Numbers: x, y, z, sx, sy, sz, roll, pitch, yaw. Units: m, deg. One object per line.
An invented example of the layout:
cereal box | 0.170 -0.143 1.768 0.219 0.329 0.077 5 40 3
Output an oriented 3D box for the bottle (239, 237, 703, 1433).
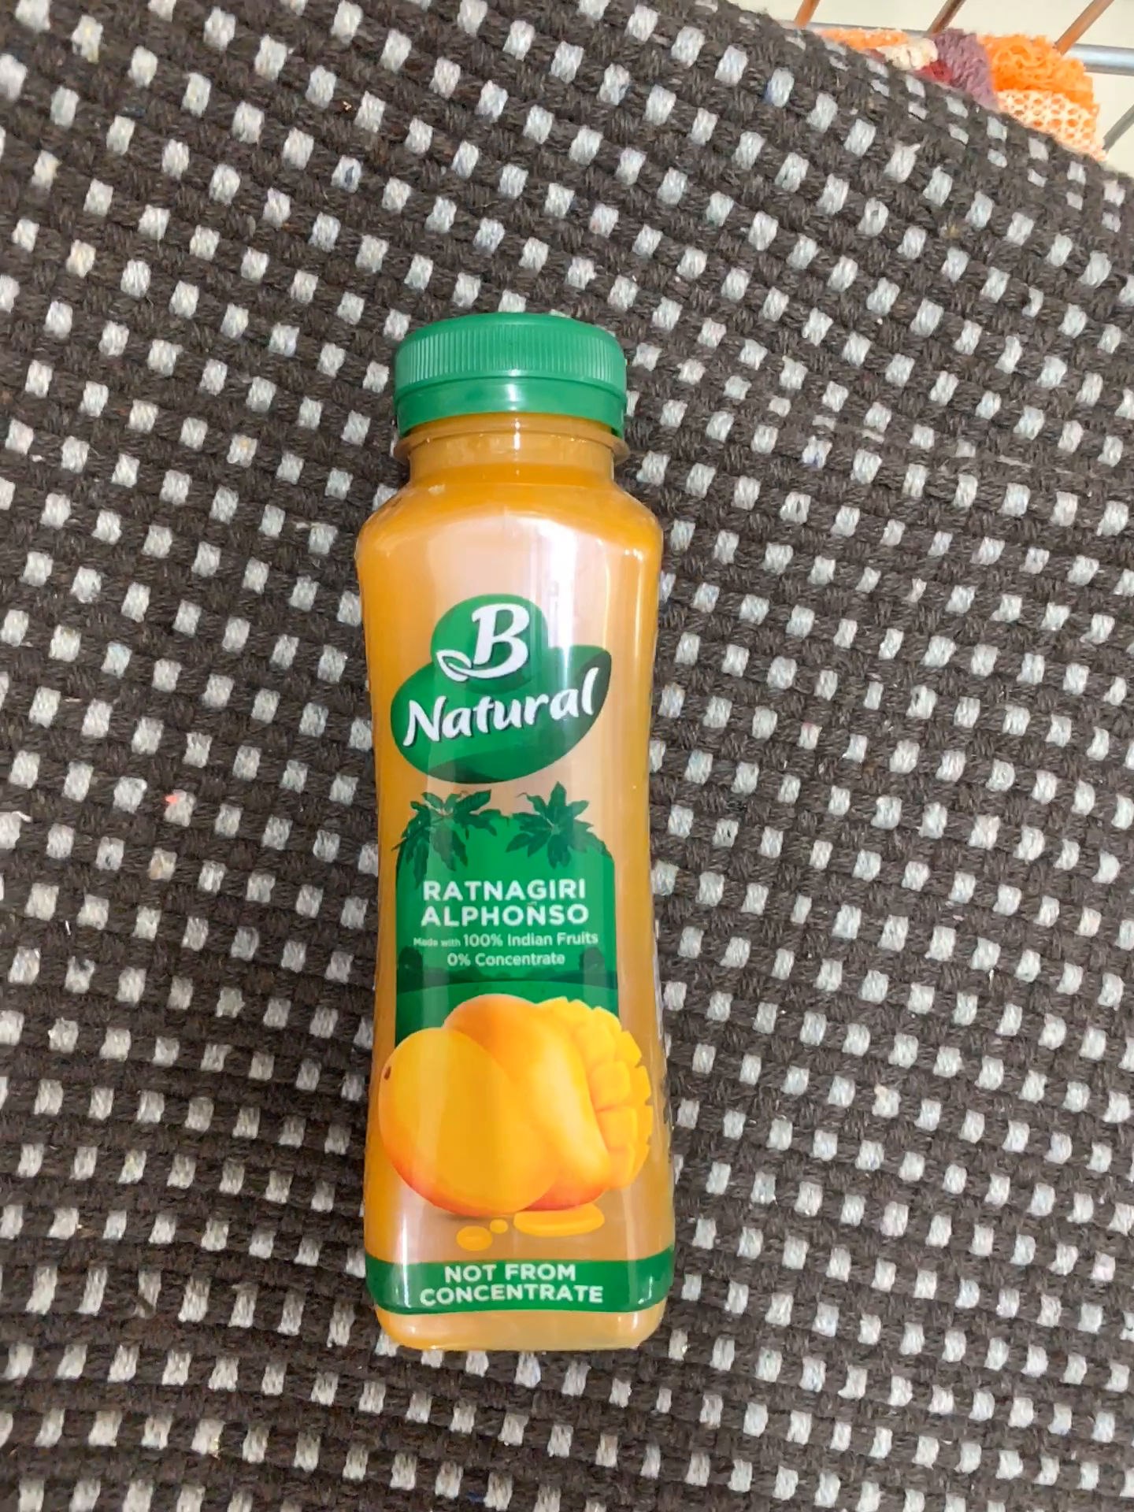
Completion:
bottle | -0.014 0.012 0.183 0.060 0.050 0.160 0 94 -2
